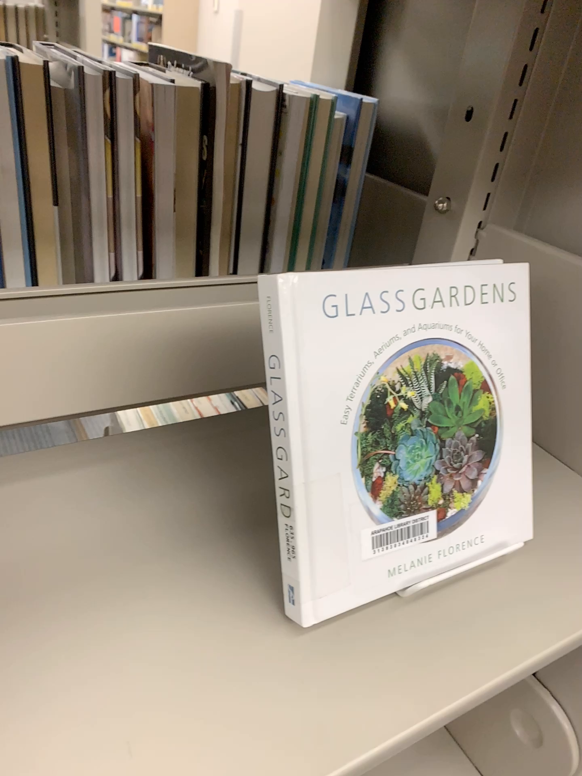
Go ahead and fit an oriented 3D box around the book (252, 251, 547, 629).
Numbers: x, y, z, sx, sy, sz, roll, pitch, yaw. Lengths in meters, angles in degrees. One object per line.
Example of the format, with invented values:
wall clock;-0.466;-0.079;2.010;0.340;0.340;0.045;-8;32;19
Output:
book;0.072;0.016;0.336;0.180;0.174;0.030;-9;10;-30
